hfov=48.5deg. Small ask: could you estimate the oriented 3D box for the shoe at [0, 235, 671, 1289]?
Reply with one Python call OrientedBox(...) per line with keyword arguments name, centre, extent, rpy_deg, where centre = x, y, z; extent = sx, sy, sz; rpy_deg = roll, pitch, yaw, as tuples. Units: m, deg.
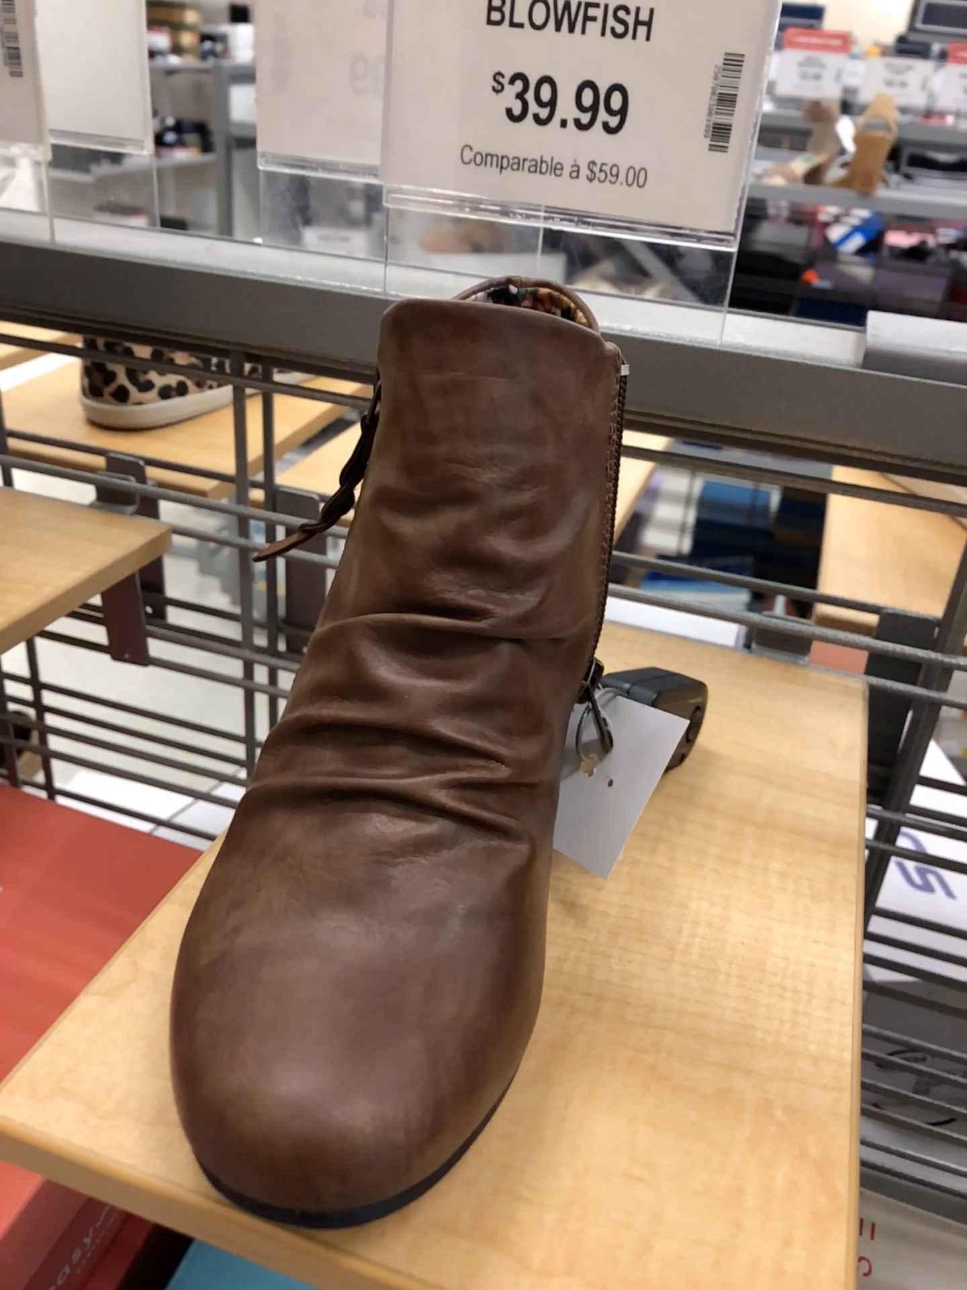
OrientedBox(name="shoe", centre=(-0.020, -0.005, 0.259), extent=(0.090, 0.139, 0.232), rpy_deg=(11, 29, 9))
